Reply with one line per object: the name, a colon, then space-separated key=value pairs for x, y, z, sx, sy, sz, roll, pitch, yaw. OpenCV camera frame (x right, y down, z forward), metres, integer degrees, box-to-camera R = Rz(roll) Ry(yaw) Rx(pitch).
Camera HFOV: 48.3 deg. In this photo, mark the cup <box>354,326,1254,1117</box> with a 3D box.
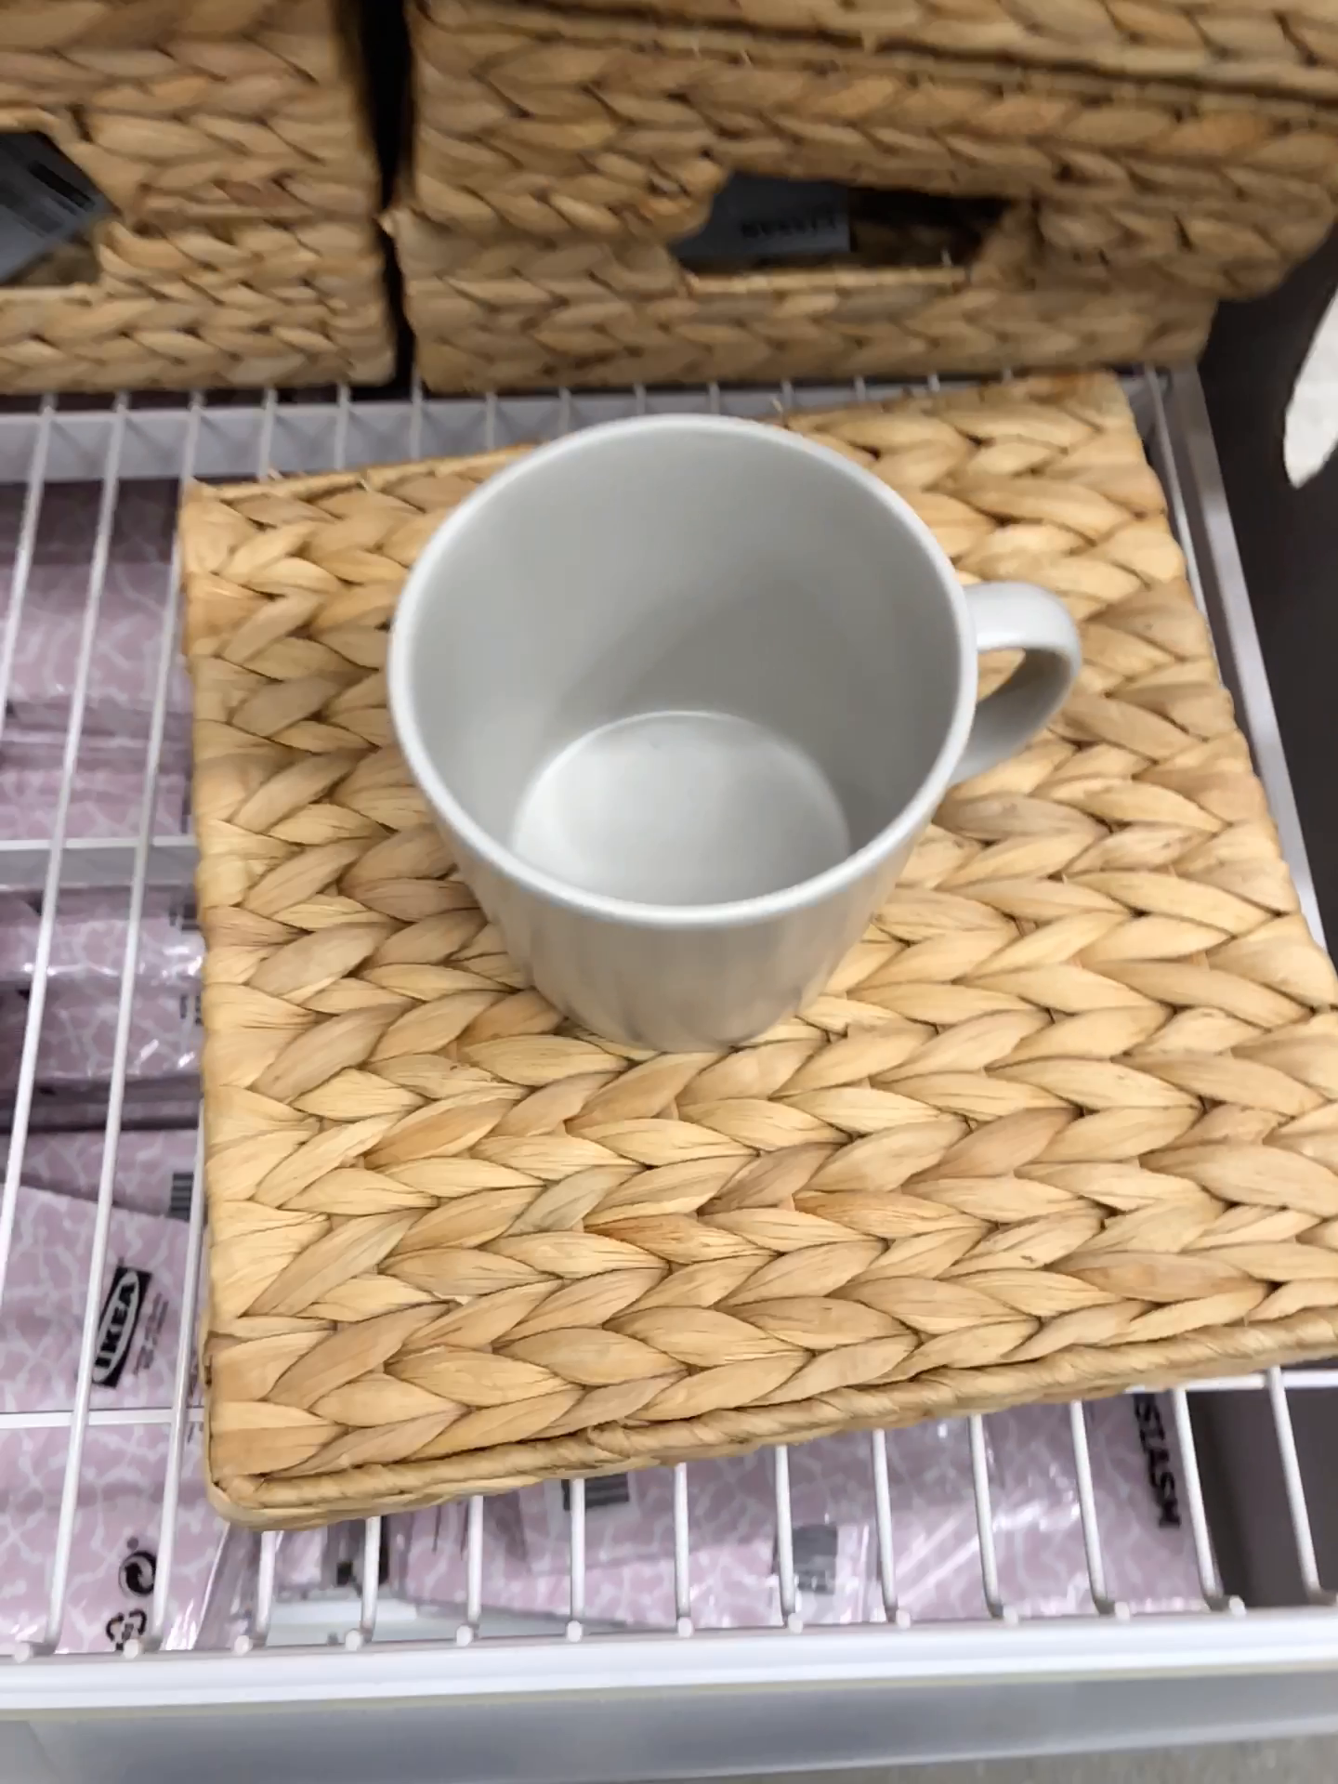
cup: x=0.017 y=-0.026 z=0.267 sx=0.120 sy=0.090 sz=0.090 roll=-9 pitch=66 yaw=-3
